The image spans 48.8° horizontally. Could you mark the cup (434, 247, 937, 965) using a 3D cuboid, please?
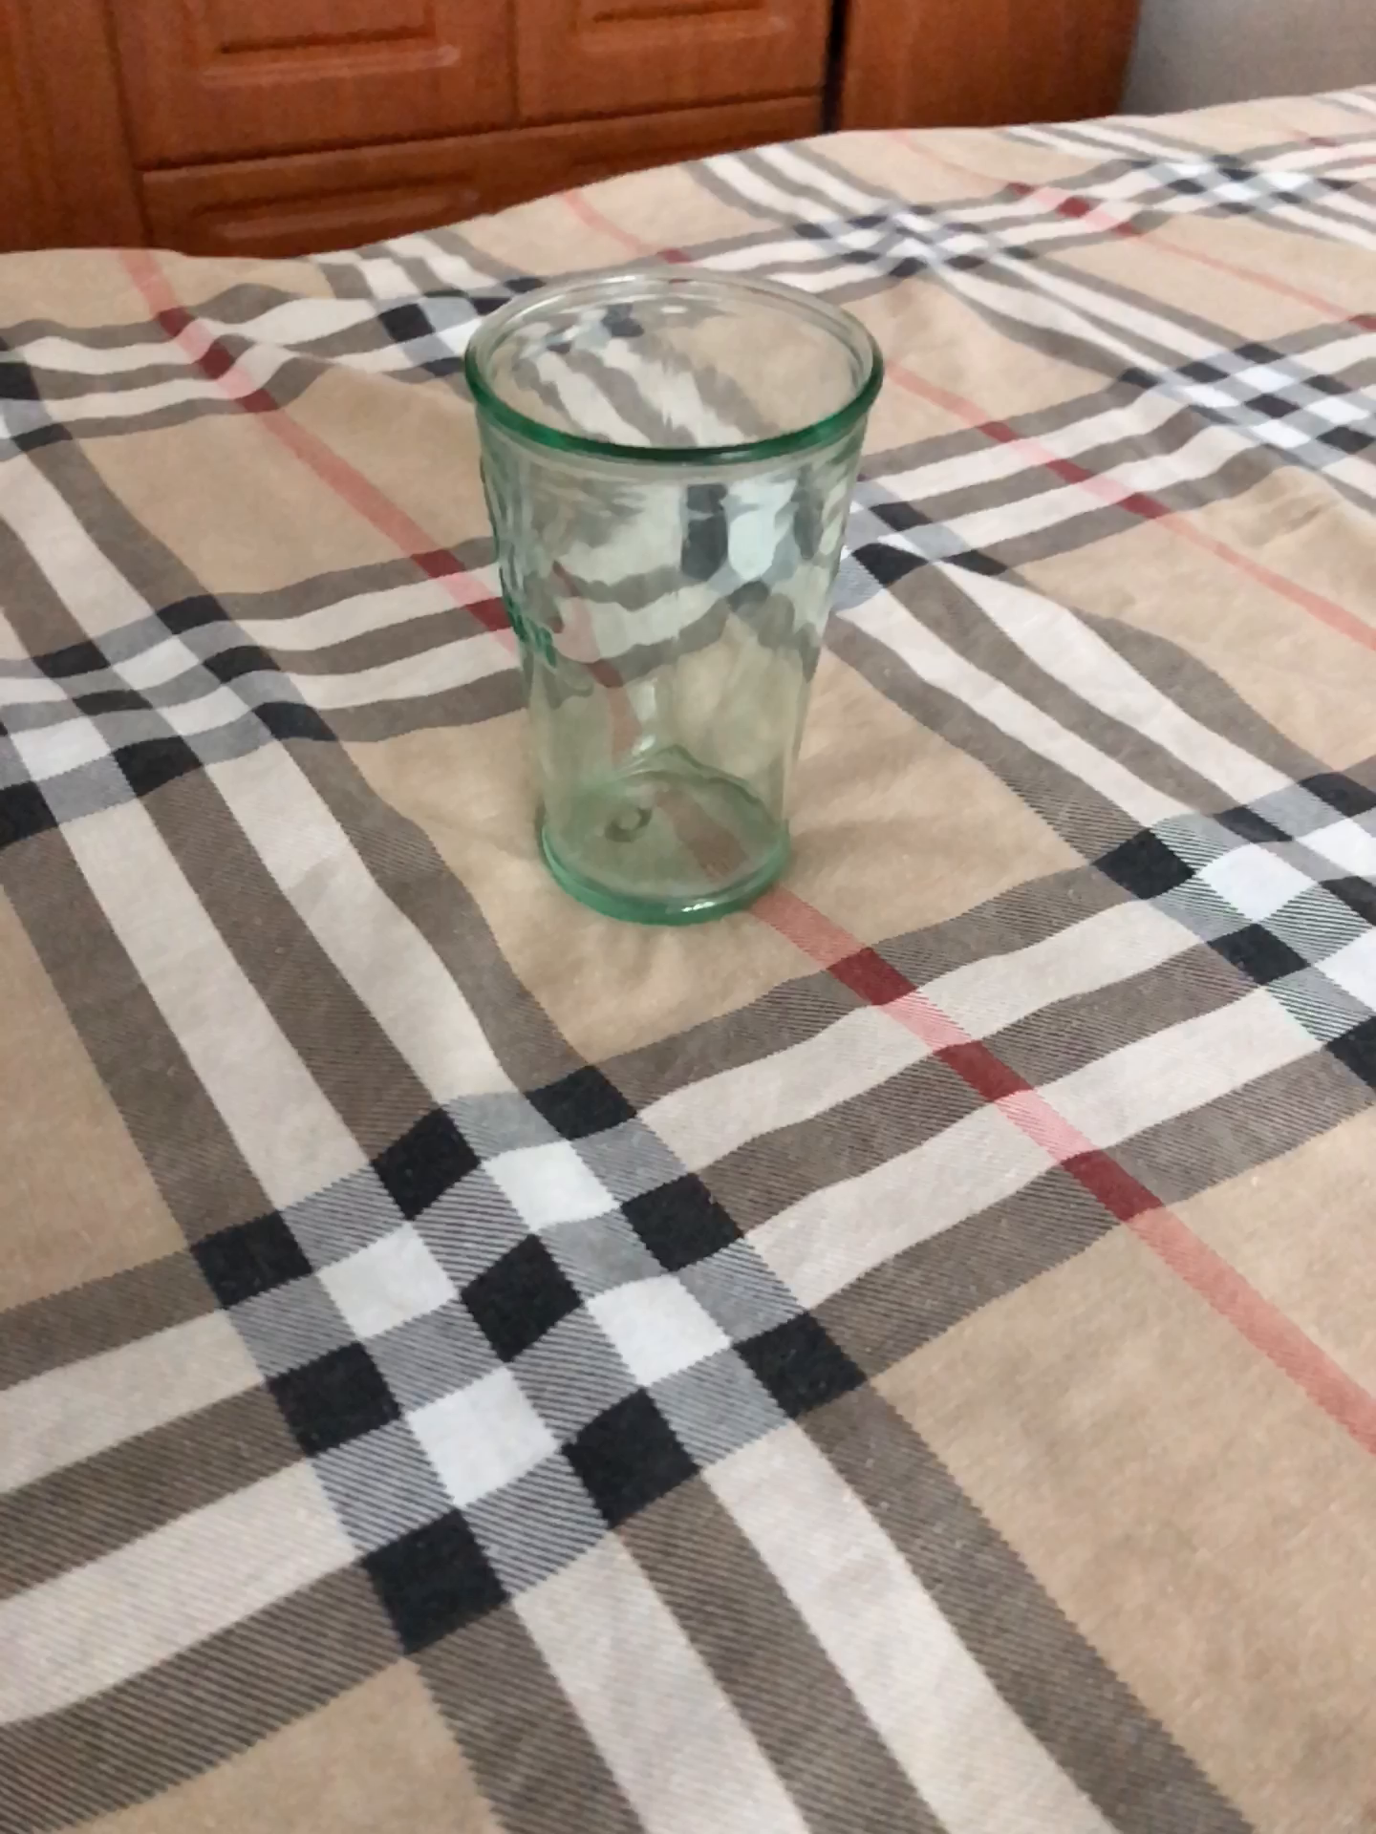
[{"bbox_3d":[-0.002,-0.063,0.315,0.082,0.112,0.086,3,42,-3],"label":"cup"}]
